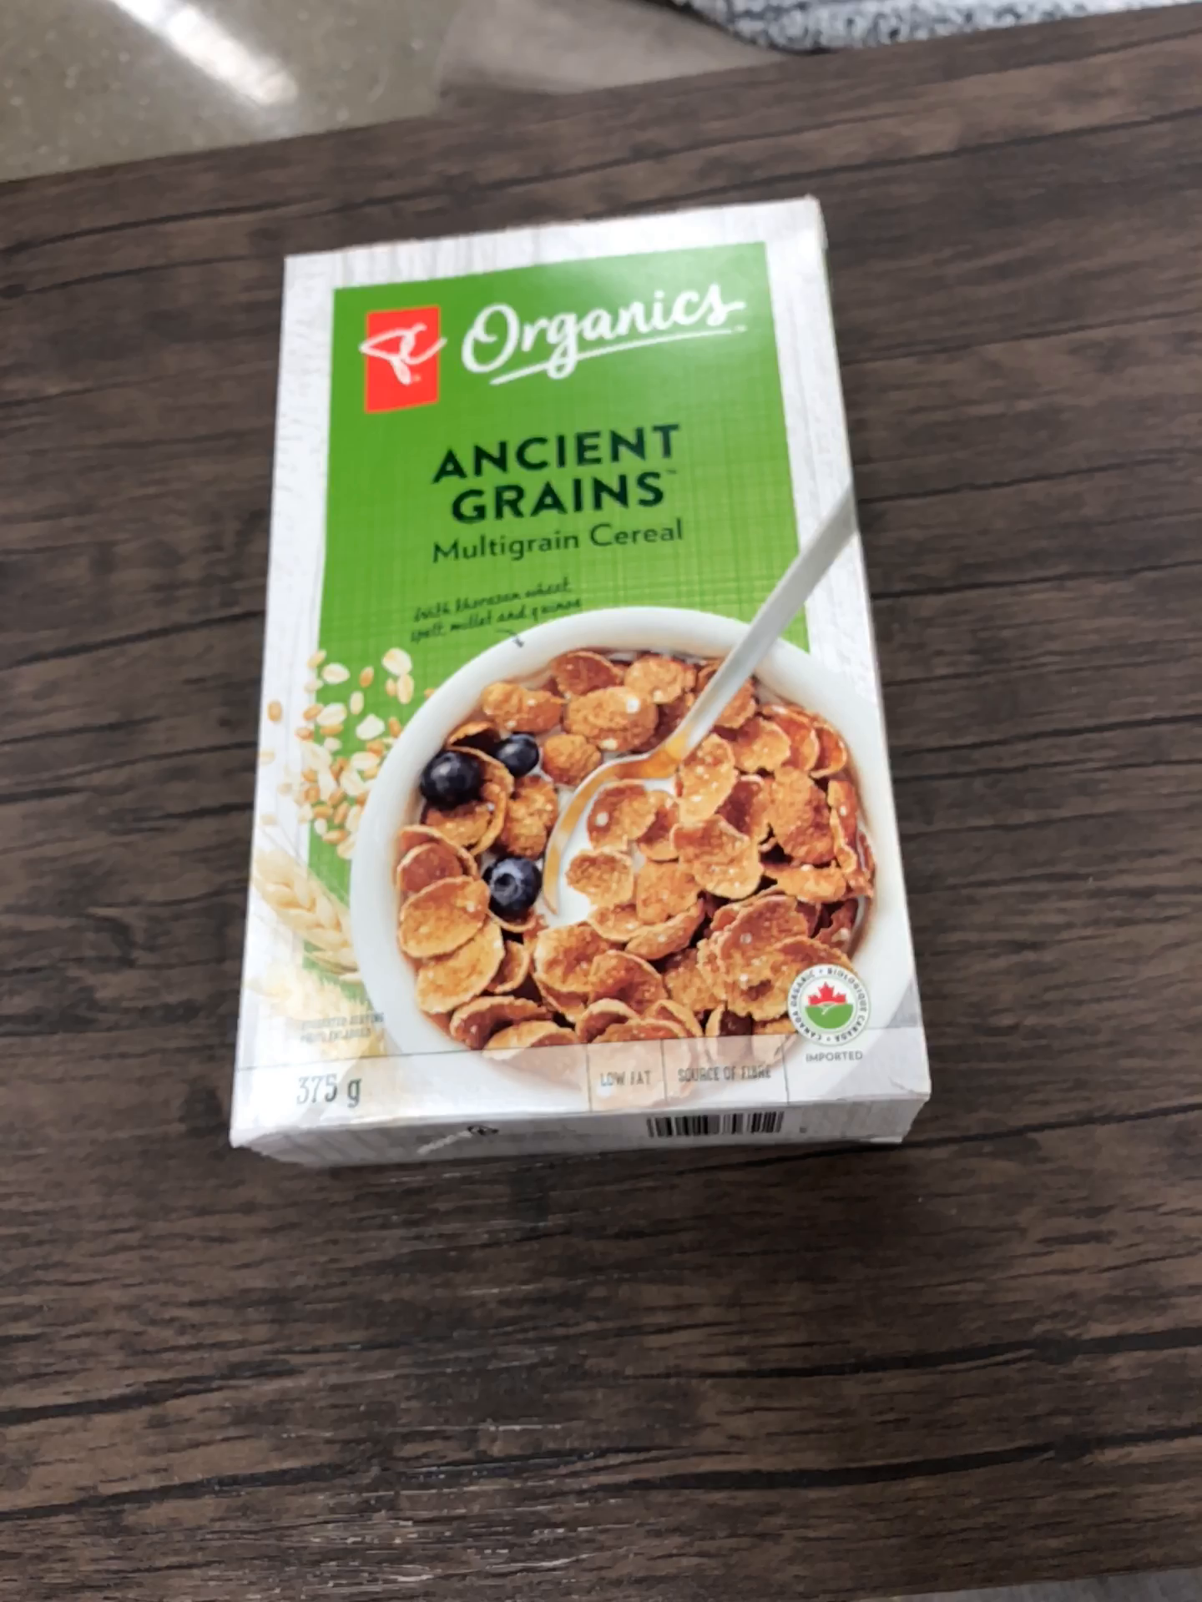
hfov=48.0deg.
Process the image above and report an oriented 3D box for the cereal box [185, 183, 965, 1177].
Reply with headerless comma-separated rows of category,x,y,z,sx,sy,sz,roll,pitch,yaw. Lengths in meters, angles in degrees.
cereal box,-0.011,-0.035,0.369,0.170,0.070,0.250,-5,69,4
